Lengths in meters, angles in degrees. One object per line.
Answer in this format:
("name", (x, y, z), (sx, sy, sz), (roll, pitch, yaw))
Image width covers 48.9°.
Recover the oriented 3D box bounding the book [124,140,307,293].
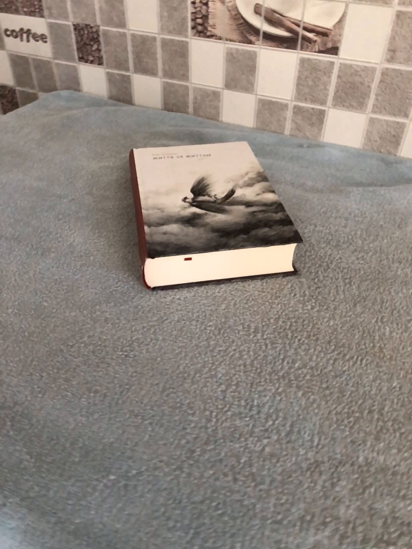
("book", (-0.004, -0.077, 0.496), (0.155, 0.040, 0.222), (-6, 41, -9))
